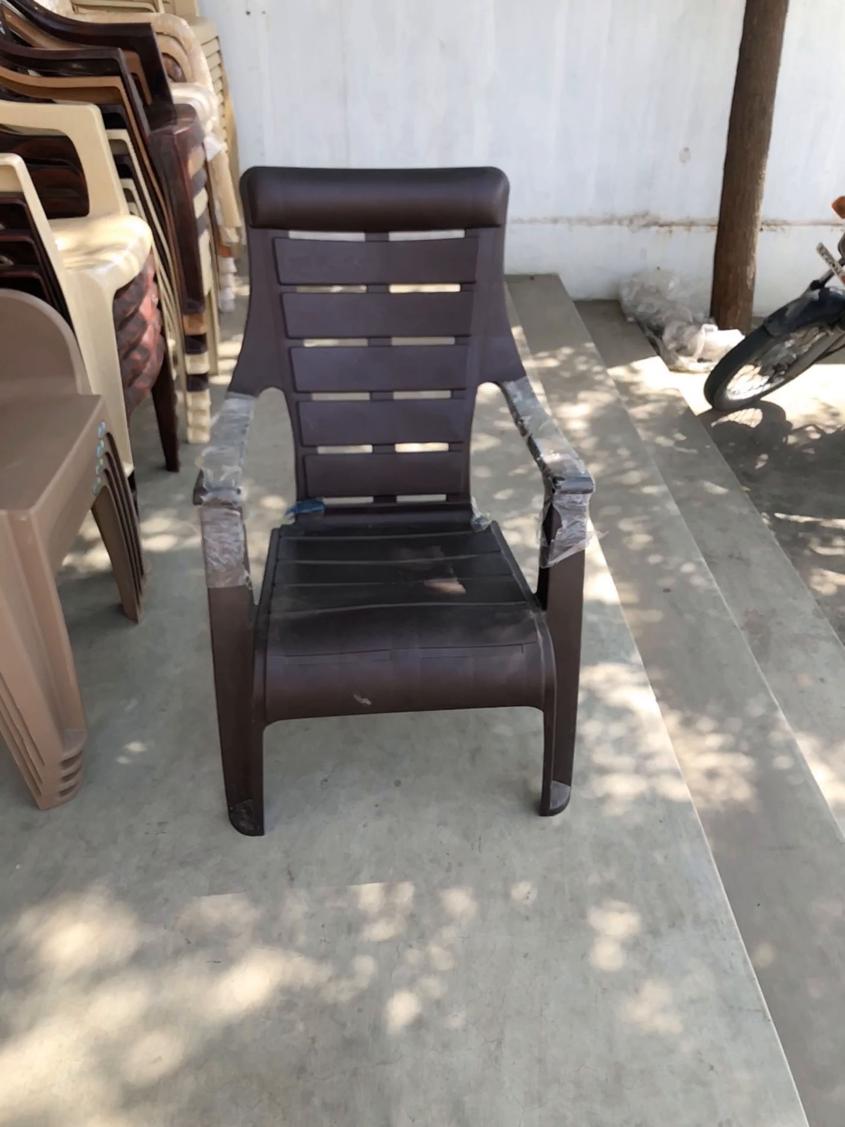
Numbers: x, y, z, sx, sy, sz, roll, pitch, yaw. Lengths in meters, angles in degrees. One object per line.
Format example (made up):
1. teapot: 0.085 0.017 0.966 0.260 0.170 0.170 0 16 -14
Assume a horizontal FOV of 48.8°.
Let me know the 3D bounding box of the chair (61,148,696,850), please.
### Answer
1. chair: -0.075 -0.142 1.559 0.680 0.875 0.764 -3 35 -5
